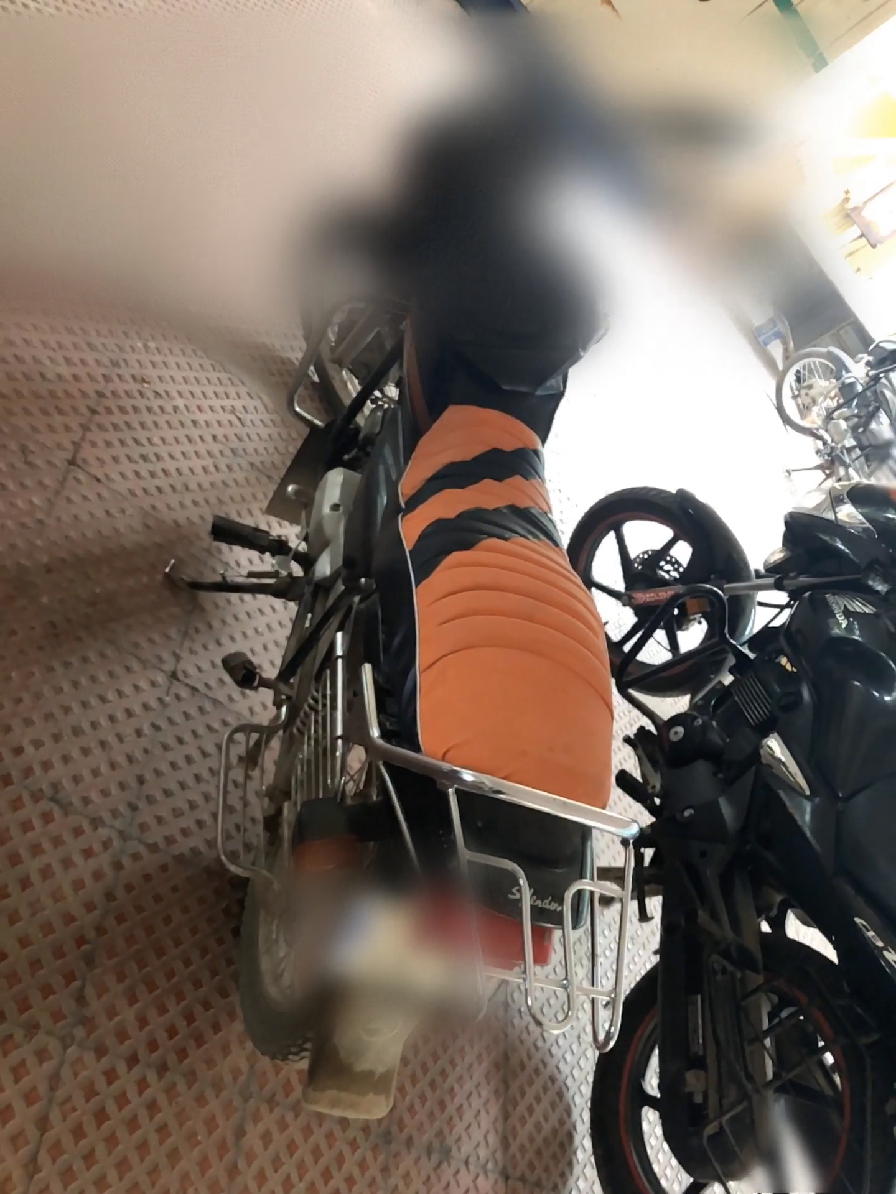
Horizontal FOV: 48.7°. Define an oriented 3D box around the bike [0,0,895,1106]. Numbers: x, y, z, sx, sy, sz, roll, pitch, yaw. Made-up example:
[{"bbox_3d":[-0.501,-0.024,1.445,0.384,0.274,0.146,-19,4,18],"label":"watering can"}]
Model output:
[{"bbox_3d":[-0.098,-0.199,1.415,0.689,1.124,1.406,33,39,-38],"label":"bike"}]
